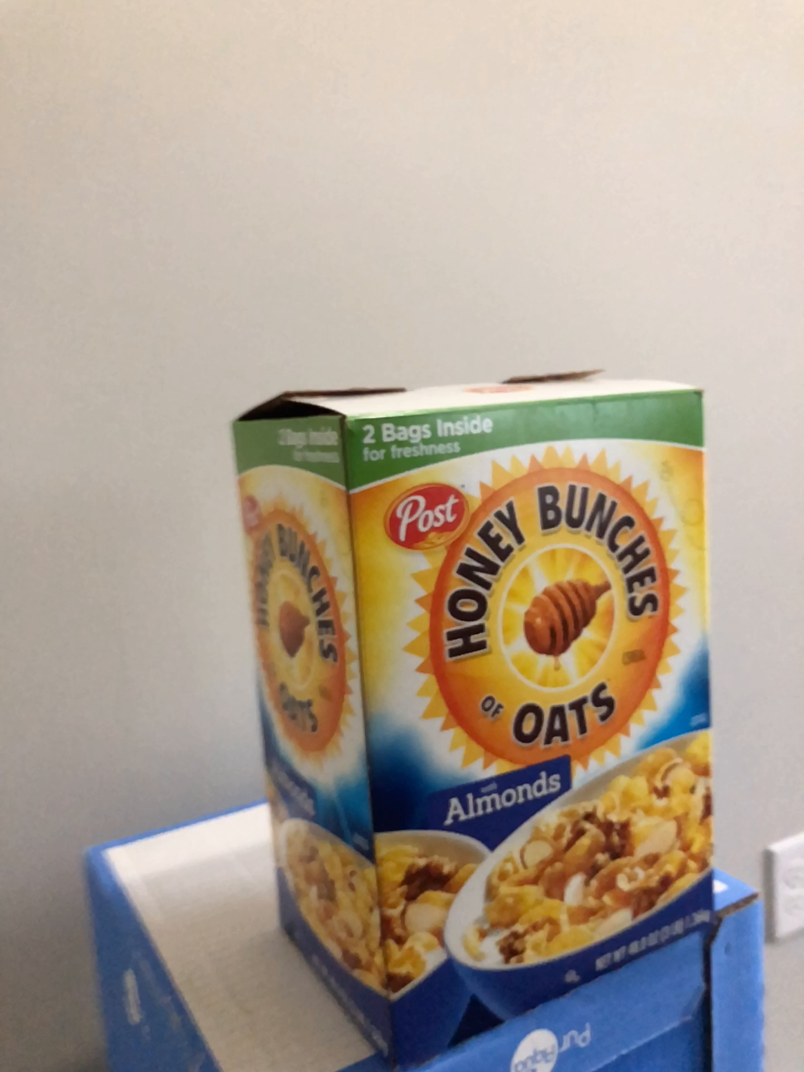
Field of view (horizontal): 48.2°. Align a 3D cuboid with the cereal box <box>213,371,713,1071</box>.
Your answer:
[{"bbox_3d":[0.034,0.073,0.481,0.200,0.300,0.150,-9,9,-28],"label":"cereal box"}]
